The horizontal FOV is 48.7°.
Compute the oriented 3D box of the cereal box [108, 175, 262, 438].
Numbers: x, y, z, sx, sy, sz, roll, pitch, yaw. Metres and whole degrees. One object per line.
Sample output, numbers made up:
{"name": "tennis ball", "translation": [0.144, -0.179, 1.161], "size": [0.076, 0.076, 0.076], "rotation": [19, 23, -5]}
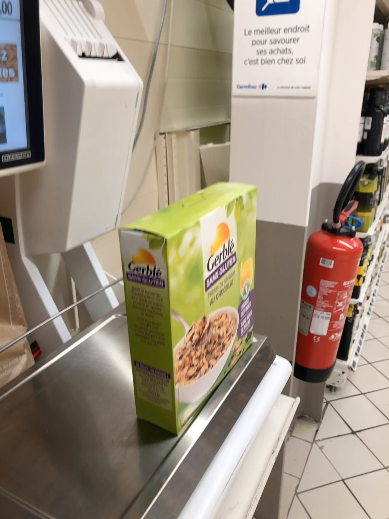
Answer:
{"name": "cereal box", "translation": [0.005, 0.038, 0.483], "size": [0.060, 0.219, 0.201], "rotation": [12, 27, 29]}
